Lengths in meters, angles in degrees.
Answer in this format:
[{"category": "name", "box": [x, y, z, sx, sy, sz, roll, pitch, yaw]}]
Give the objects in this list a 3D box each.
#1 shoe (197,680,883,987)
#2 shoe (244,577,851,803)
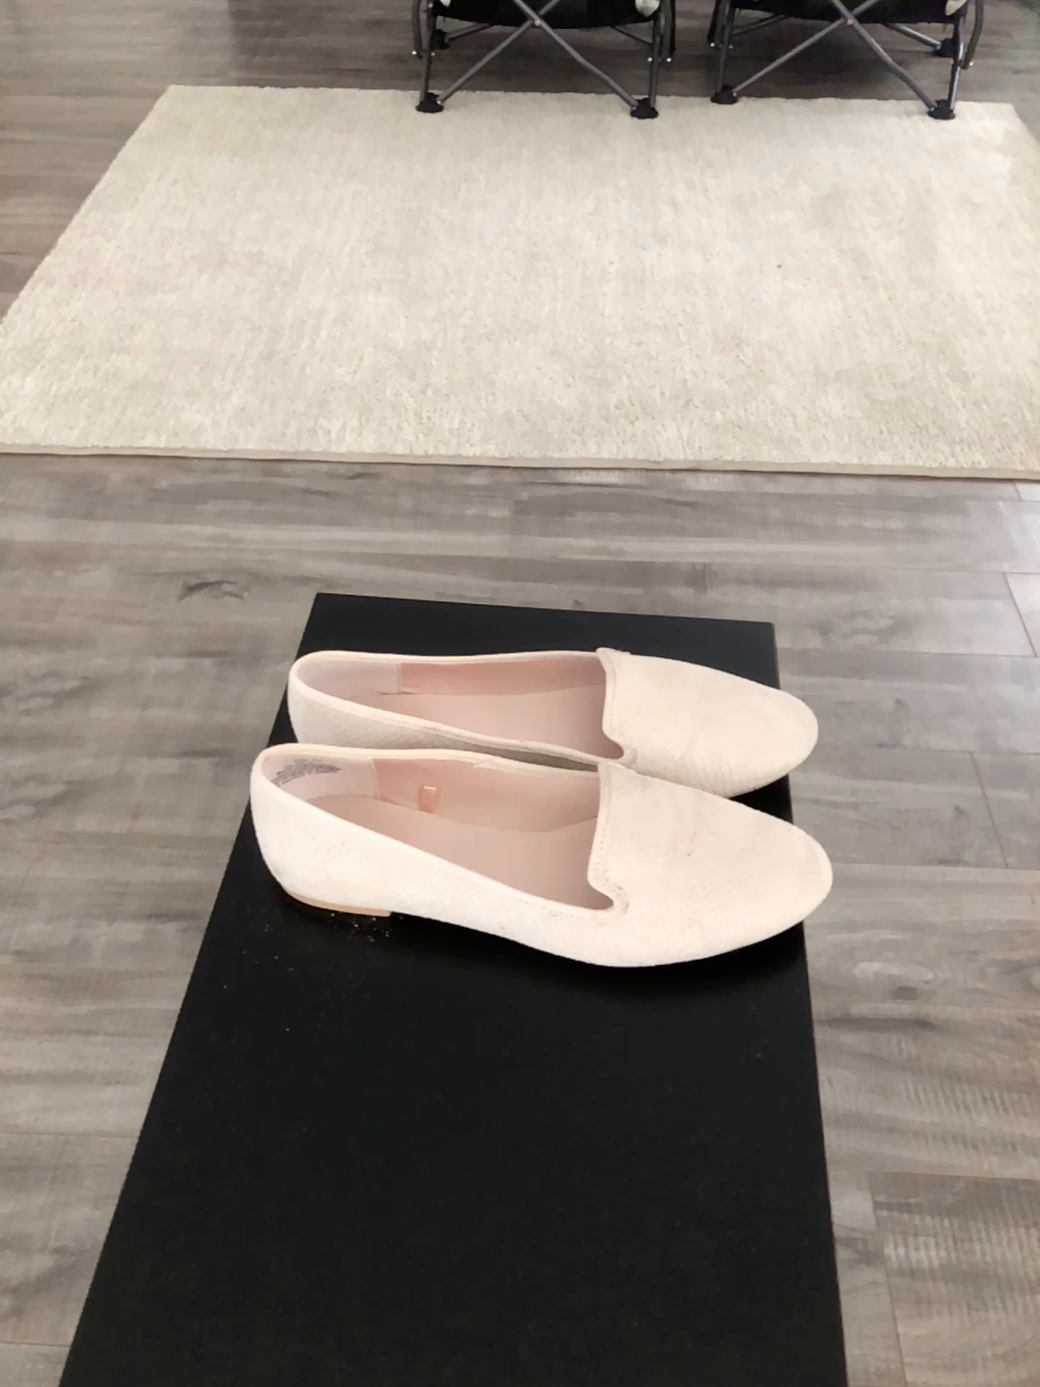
[{"category": "shoe", "box": [0.009, 0.058, 0.486, 0.259, 0.070, 0.090, 3, 45, 3]}, {"category": "shoe", "box": [0.012, -0.002, 0.540, 0.259, 0.070, 0.080, 0, 45, 0]}]
